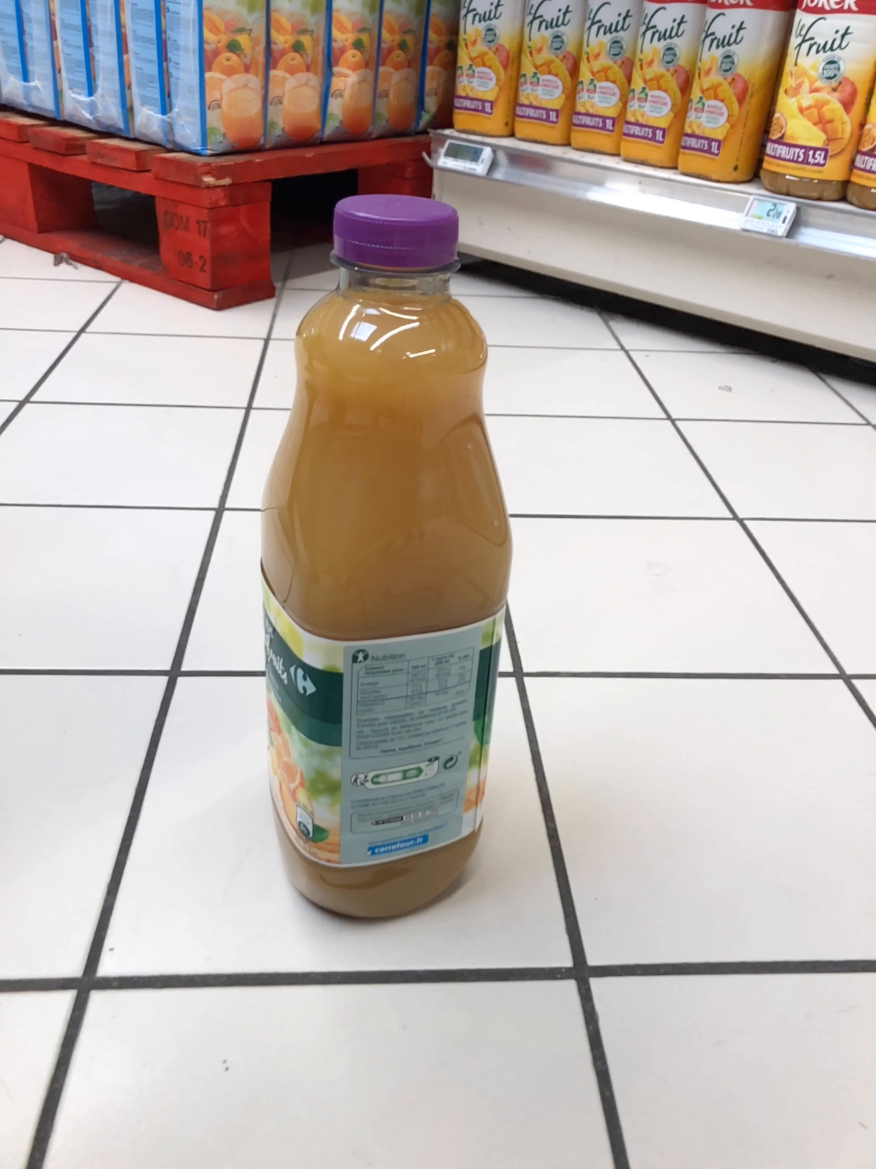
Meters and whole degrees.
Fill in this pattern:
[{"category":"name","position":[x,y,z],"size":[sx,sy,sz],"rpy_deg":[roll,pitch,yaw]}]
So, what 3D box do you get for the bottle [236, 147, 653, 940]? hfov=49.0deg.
[{"category":"bottle","position":[-0.009,-0.009,0.370],"size":[0.100,0.278,0.100],"rpy_deg":[2,31,-1]}]
